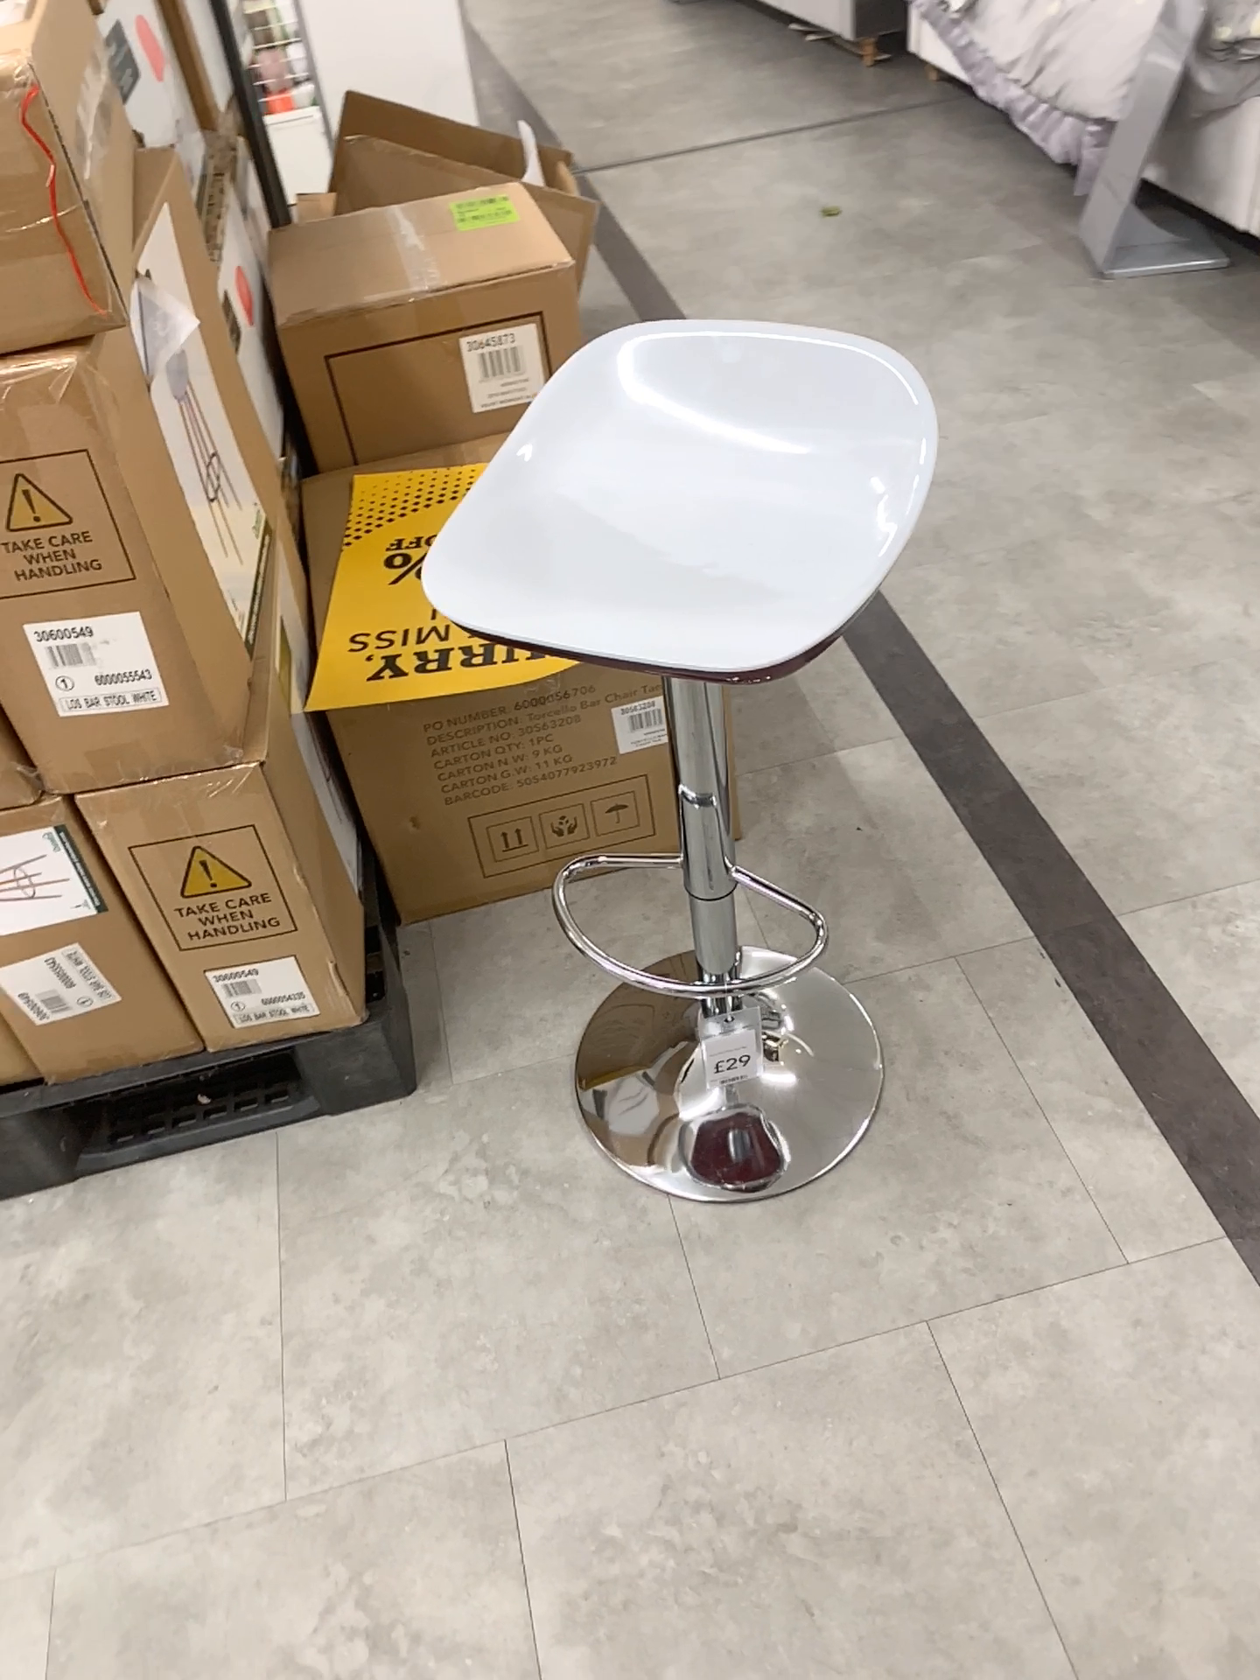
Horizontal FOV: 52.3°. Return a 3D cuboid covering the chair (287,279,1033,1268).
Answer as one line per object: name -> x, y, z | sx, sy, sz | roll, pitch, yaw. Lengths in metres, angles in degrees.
chair -> 0.092, -0.047, 1.250 | 0.444, 0.797, 0.456 | 10, 46, 20
